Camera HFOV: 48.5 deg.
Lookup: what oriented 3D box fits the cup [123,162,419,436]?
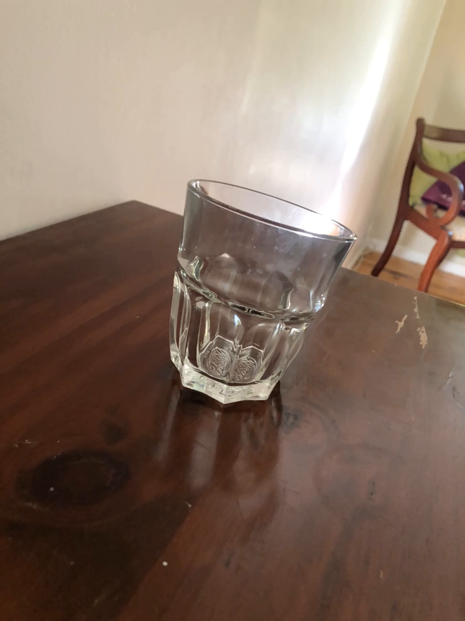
[{"bbox_3d":[0.014,-0.015,0.266,0.101,0.095,0.090,-10,33,-37],"label":"cup"}]
